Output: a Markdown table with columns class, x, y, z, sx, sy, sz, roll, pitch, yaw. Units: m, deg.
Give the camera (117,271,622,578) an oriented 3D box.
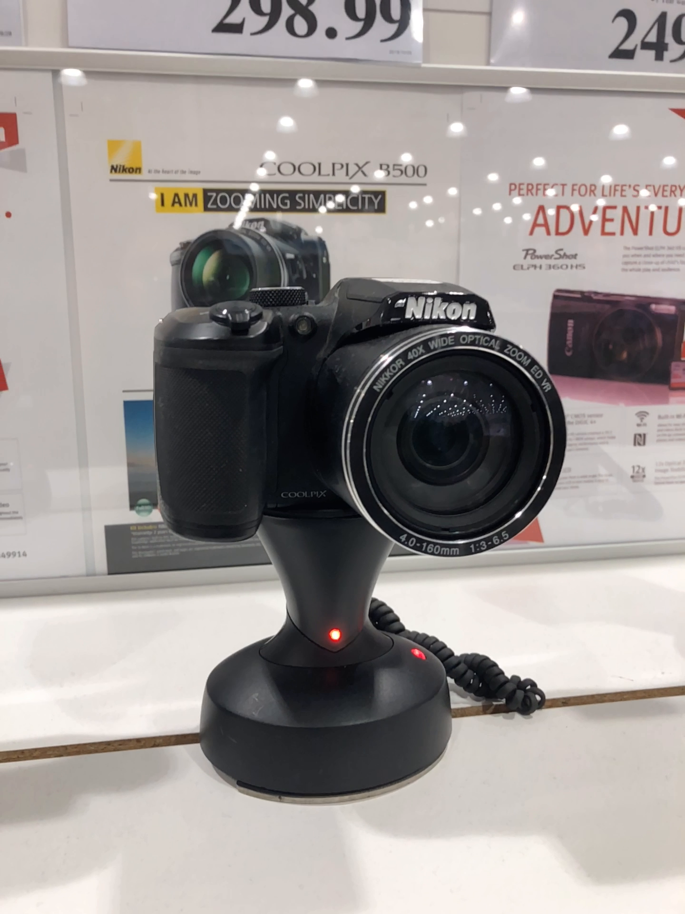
| class | x | y | z | sx | sy | sz | roll | pitch | yaw |
| --- | --- | --- | --- | --- | --- | --- | --- | --- | --- |
| camera | 0.001 | -0.019 | 0.232 | 0.120 | 0.070 | 0.100 | -3 | 12 | -11 |
